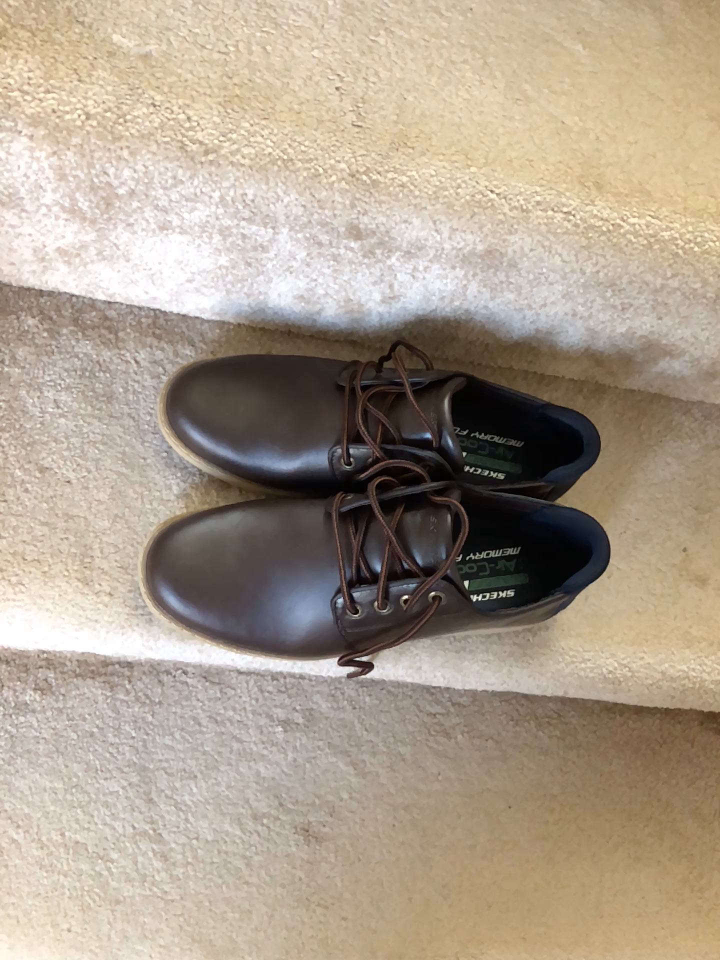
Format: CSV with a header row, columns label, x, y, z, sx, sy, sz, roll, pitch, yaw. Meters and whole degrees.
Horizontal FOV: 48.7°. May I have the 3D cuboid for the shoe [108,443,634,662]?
label,x,y,z,sx,sy,sz,roll,pitch,yaw
shoe,0.005,0.051,0.502,0.300,0.090,0.110,2,70,-12

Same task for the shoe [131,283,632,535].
label,x,y,z,sx,sy,sz,roll,pitch,yaw
shoe,0.013,-0.039,0.525,0.300,0.090,0.110,5,69,-11
